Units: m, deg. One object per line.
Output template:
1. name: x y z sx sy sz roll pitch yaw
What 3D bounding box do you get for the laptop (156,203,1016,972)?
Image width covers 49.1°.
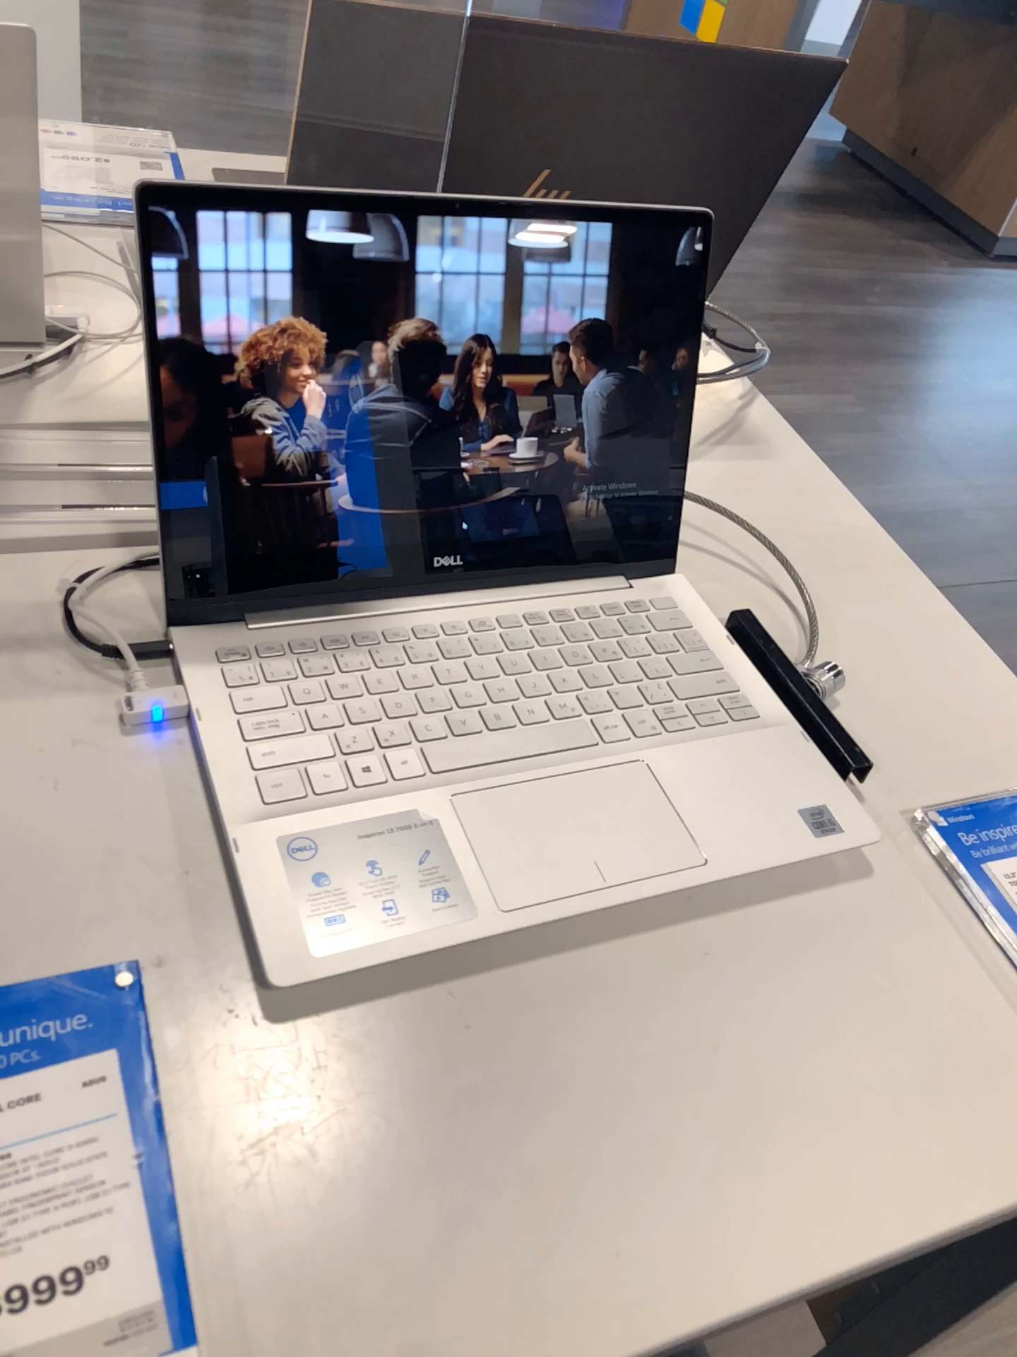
1. laptop: 0.014 -0.060 0.496 0.285 0.186 0.265 -7 45 -24
